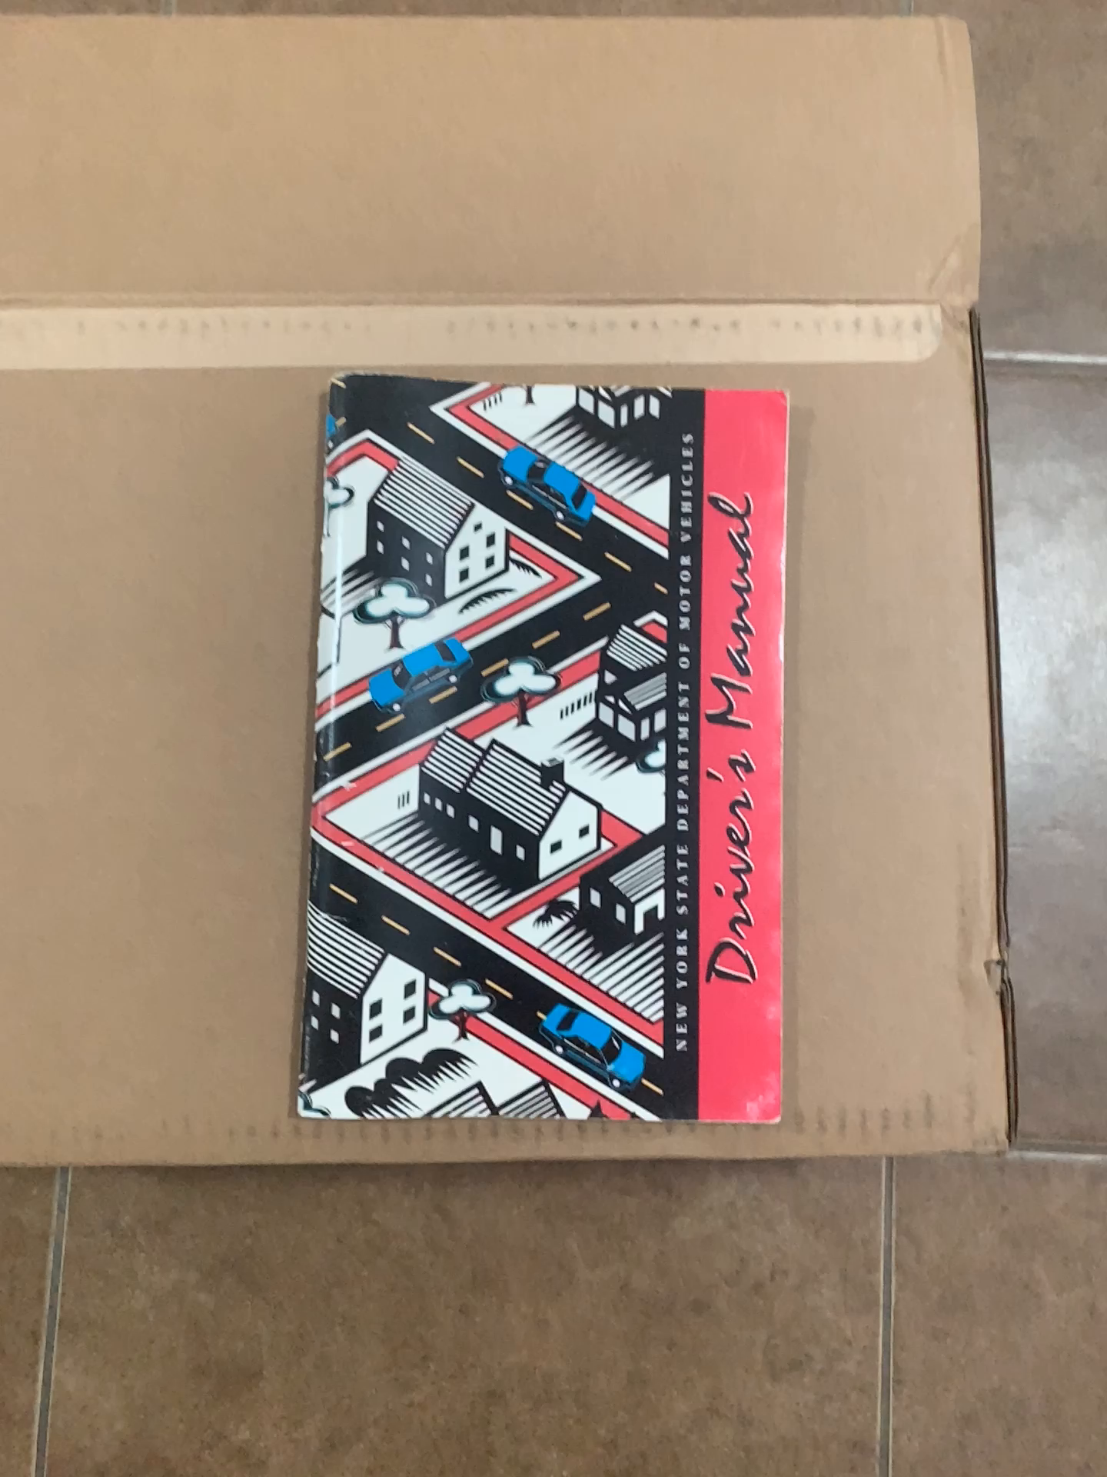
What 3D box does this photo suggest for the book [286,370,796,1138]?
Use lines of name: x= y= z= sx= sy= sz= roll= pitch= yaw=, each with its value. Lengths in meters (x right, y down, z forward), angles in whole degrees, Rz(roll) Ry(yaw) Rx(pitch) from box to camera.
book: x=-0.001 y=0.002 z=0.317 sx=0.133 sy=0.013 sz=0.207 roll=2 pitch=84 yaw=0
